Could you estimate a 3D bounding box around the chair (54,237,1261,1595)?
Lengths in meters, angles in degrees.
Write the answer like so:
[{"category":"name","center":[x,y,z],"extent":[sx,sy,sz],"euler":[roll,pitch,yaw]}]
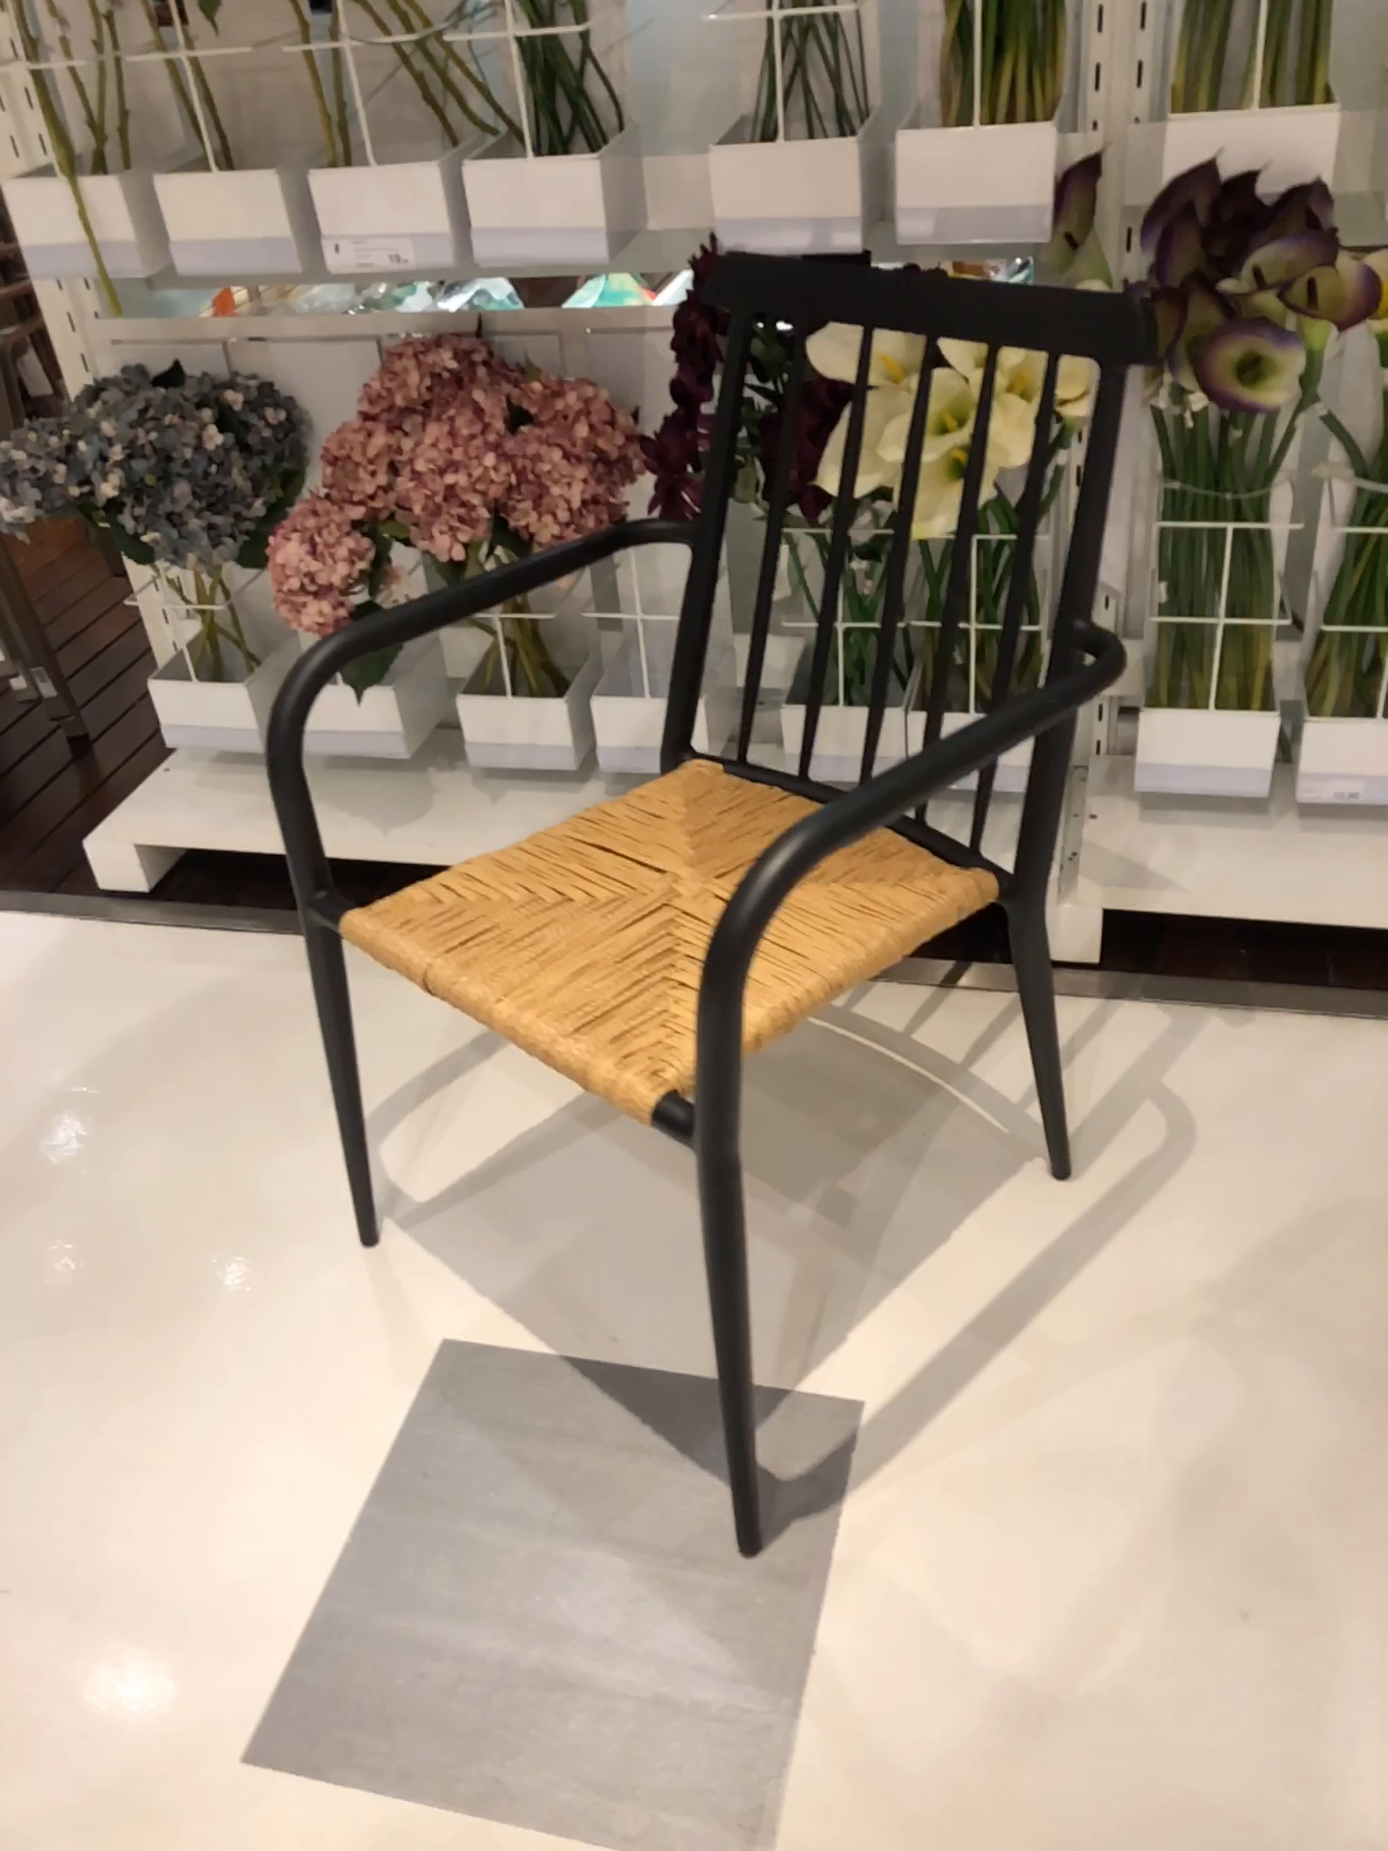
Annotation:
[{"category":"chair","center":[0.011,-0.056,1.211],"extent":[0.582,0.754,0.542],"euler":[-34,43,-32]}]
